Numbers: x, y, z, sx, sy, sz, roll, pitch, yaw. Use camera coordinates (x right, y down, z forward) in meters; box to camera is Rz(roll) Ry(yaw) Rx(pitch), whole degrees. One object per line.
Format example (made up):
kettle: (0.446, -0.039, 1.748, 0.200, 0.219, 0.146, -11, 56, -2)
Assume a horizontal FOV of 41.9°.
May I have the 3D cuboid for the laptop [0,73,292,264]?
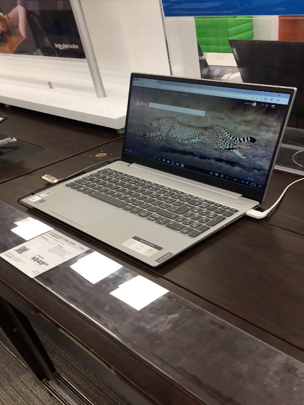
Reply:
laptop: (-0.012, -0.093, 0.725, 0.348, 0.194, 0.328, 24, 44, 39)
